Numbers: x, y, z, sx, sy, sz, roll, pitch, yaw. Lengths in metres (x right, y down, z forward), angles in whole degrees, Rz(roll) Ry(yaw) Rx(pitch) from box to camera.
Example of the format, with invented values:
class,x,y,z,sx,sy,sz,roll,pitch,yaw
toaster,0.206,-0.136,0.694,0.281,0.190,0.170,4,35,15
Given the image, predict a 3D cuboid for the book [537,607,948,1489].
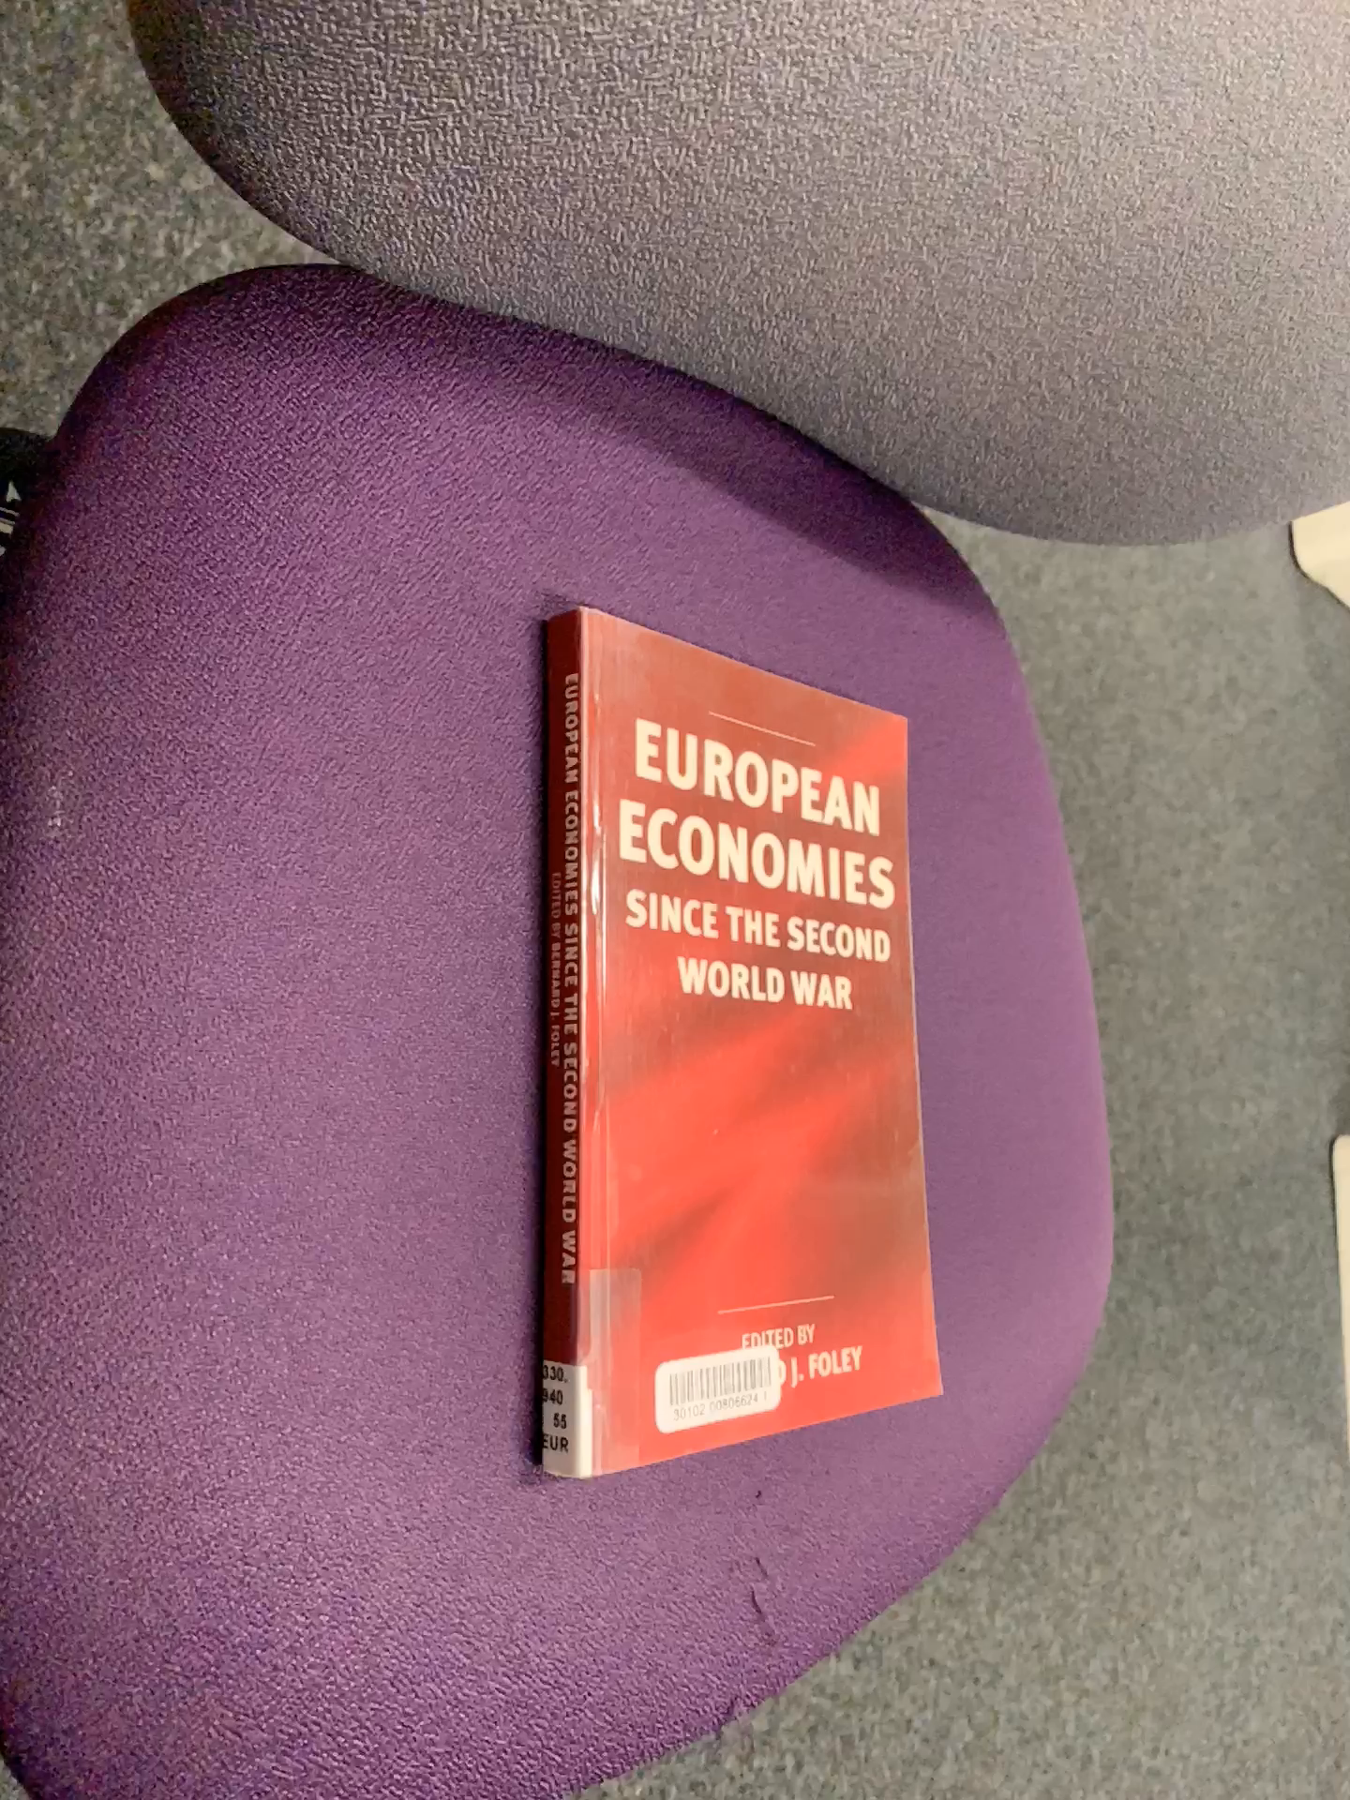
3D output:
class,x,y,z,sx,sy,sz,roll,pitch,yaw
book,0.024,0.041,0.414,0.149,0.020,0.225,9,76,-43
